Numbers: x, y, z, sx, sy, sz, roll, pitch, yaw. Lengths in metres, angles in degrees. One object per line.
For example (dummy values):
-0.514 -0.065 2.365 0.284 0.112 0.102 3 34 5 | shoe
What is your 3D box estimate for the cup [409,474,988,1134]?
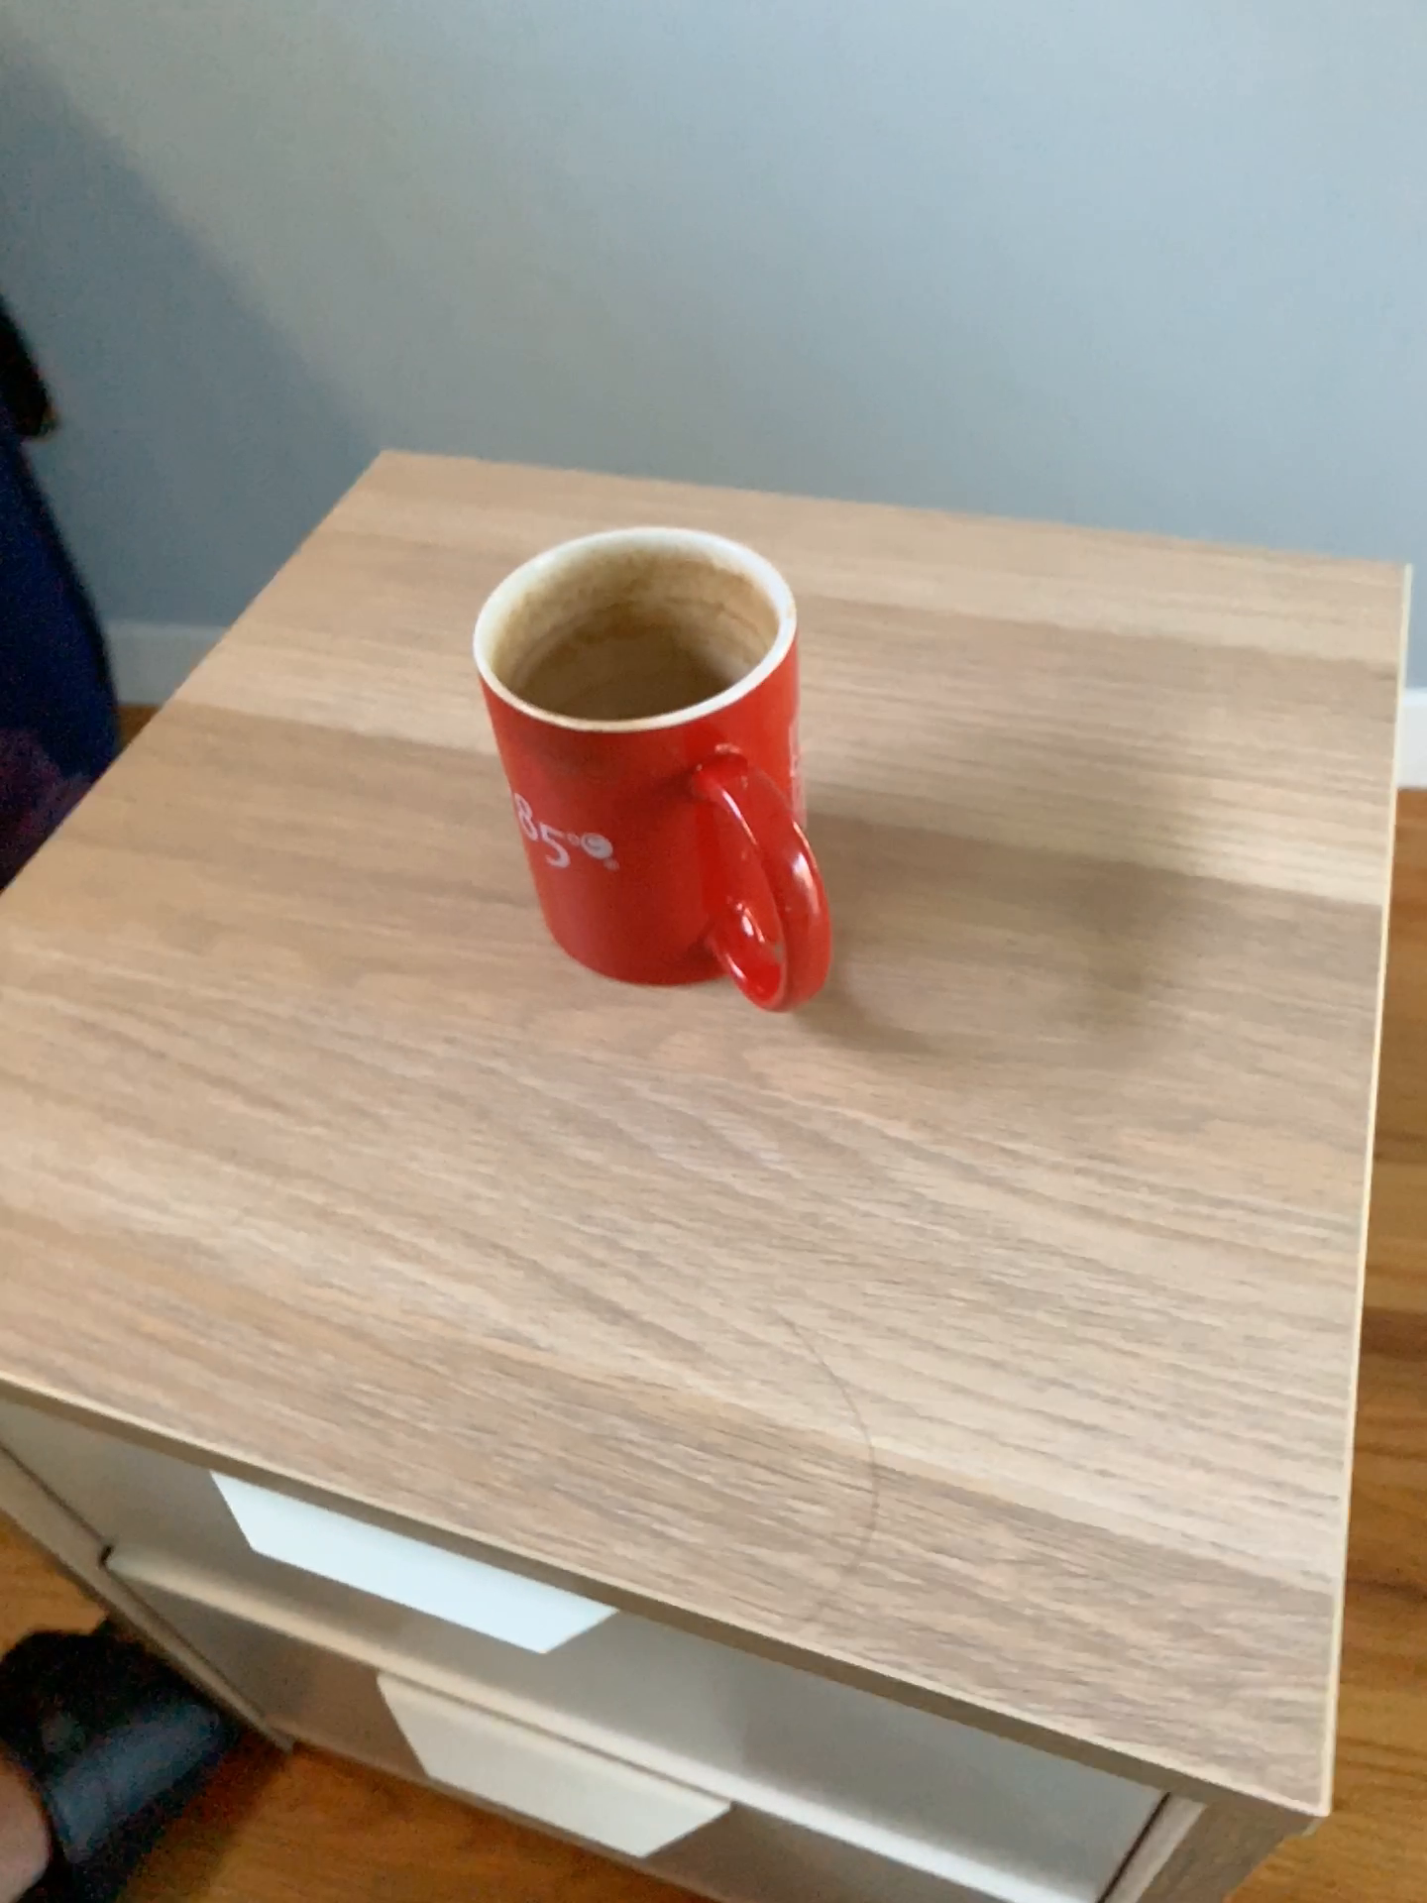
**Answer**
-0.006 -0.043 0.394 0.090 0.090 0.131 -25 51 -15 | cup
